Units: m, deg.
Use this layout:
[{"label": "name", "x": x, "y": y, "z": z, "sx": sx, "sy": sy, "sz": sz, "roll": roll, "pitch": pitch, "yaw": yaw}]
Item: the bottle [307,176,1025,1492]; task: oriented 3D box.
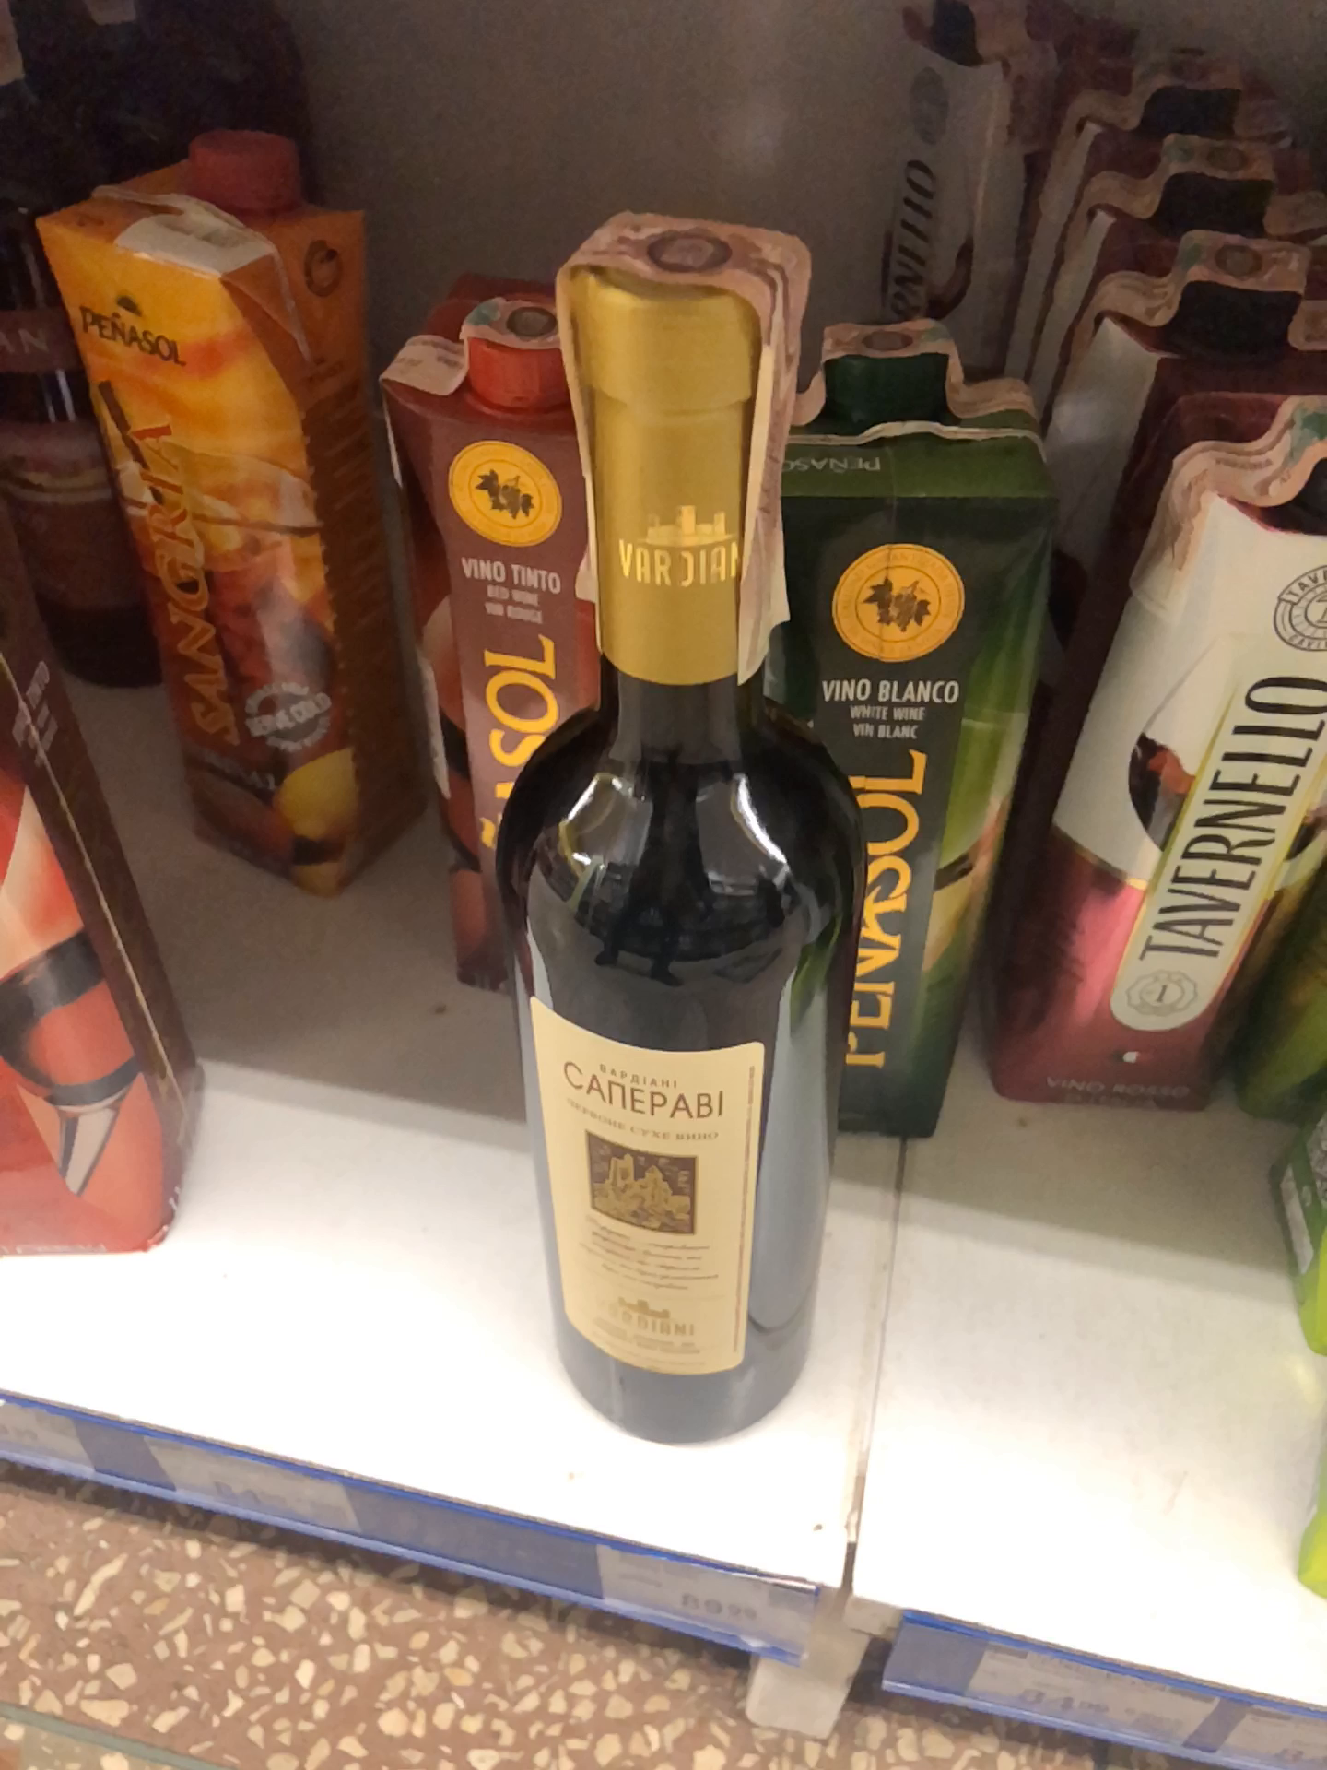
[{"label": "bottle", "x": 0.001, "y": 0.021, "z": 0.297, "sx": 0.080, "sy": 0.281, "sz": 0.070, "roll": 12, "pitch": 47, "yaw": 9}]
